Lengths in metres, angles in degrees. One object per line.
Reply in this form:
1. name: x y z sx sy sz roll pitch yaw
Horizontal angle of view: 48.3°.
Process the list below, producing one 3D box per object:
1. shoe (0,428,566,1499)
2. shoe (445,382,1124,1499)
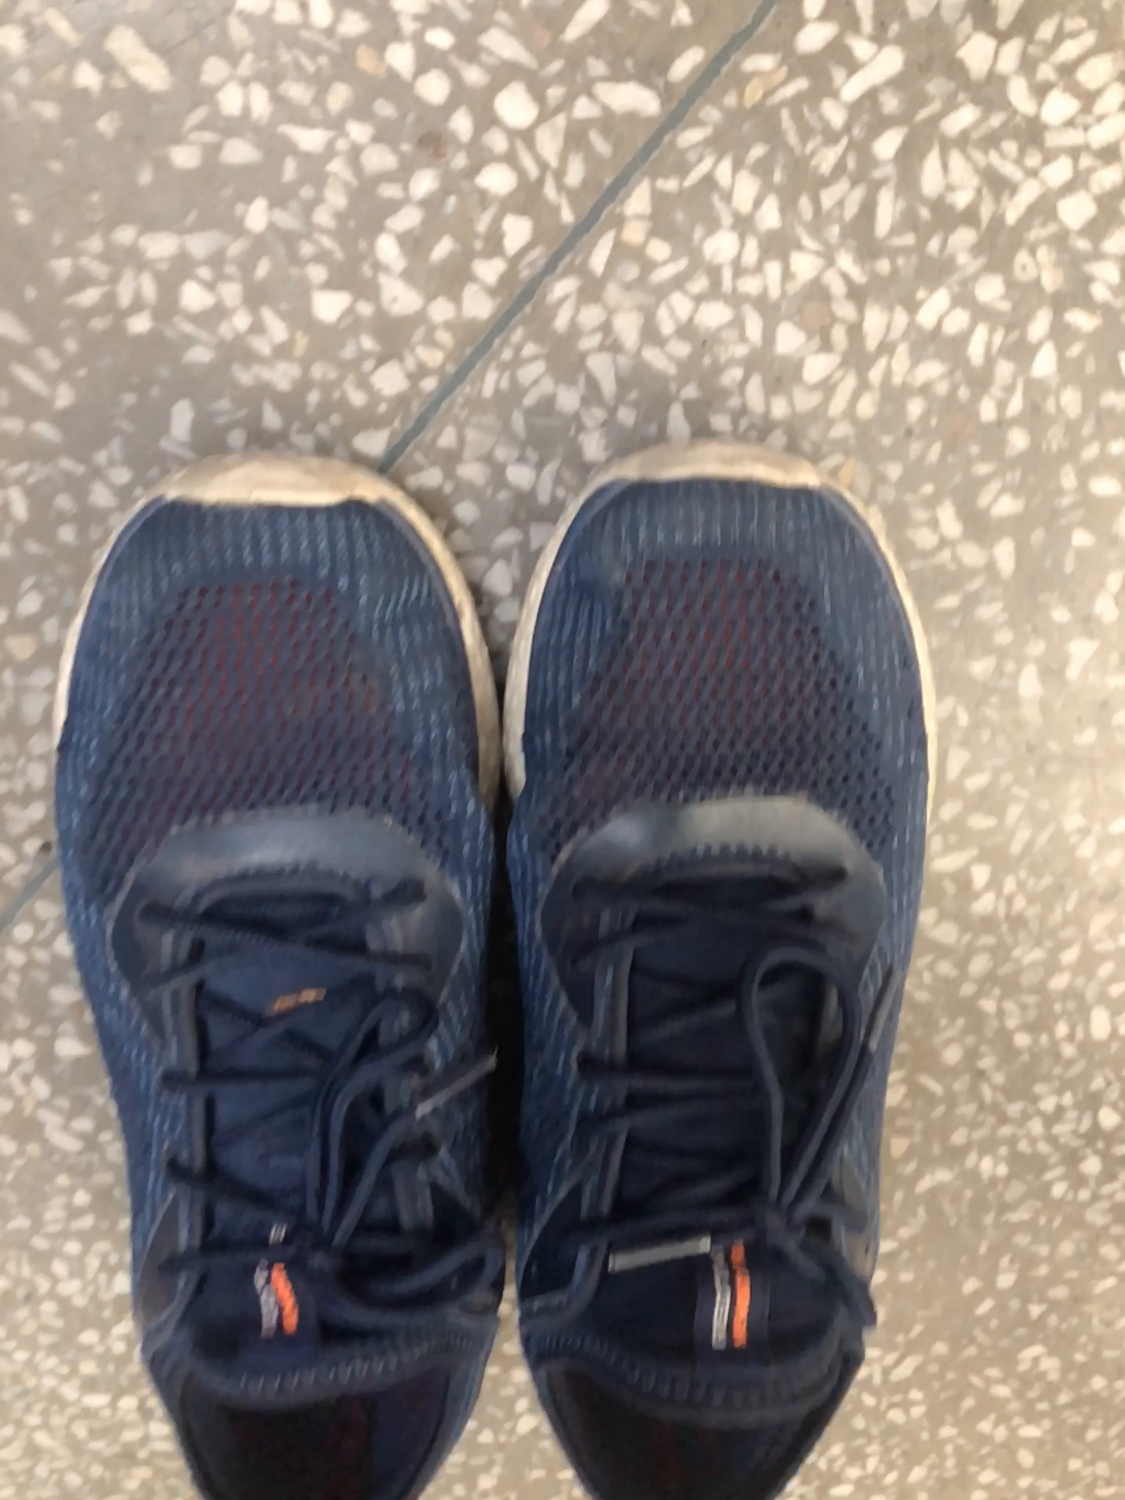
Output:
1. shoe: -0.064 0.065 0.290 0.113 0.099 0.250 -4 115 -1
2. shoe: 0.045 0.053 0.289 0.123 0.099 0.250 -2 115 -1
